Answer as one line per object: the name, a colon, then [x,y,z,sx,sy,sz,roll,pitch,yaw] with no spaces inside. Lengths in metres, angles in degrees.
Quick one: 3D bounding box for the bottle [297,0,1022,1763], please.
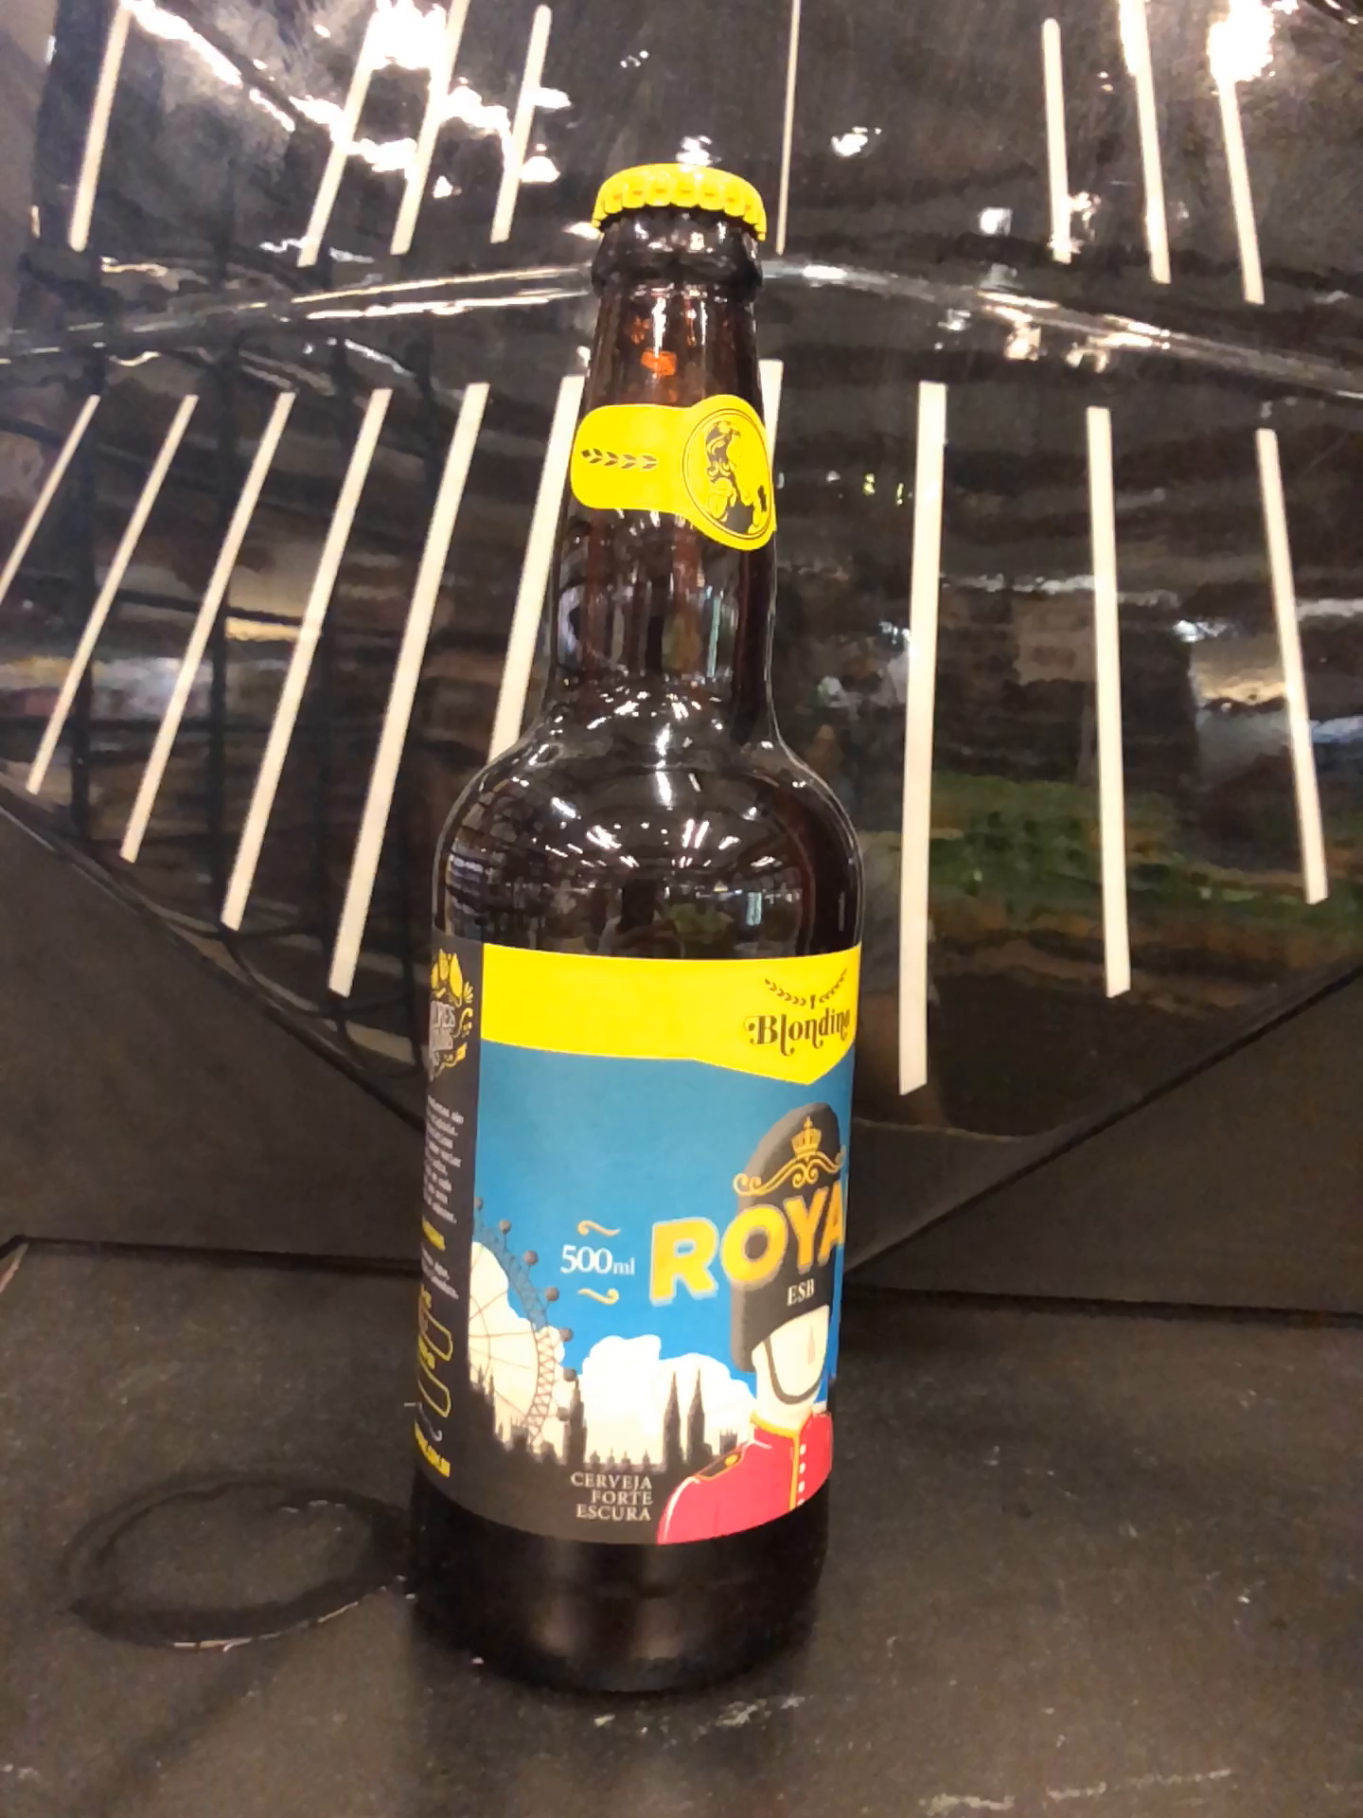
bottle: [-0.004,-0.011,0.246,0.070,0.240,0.080,7,6,42]
